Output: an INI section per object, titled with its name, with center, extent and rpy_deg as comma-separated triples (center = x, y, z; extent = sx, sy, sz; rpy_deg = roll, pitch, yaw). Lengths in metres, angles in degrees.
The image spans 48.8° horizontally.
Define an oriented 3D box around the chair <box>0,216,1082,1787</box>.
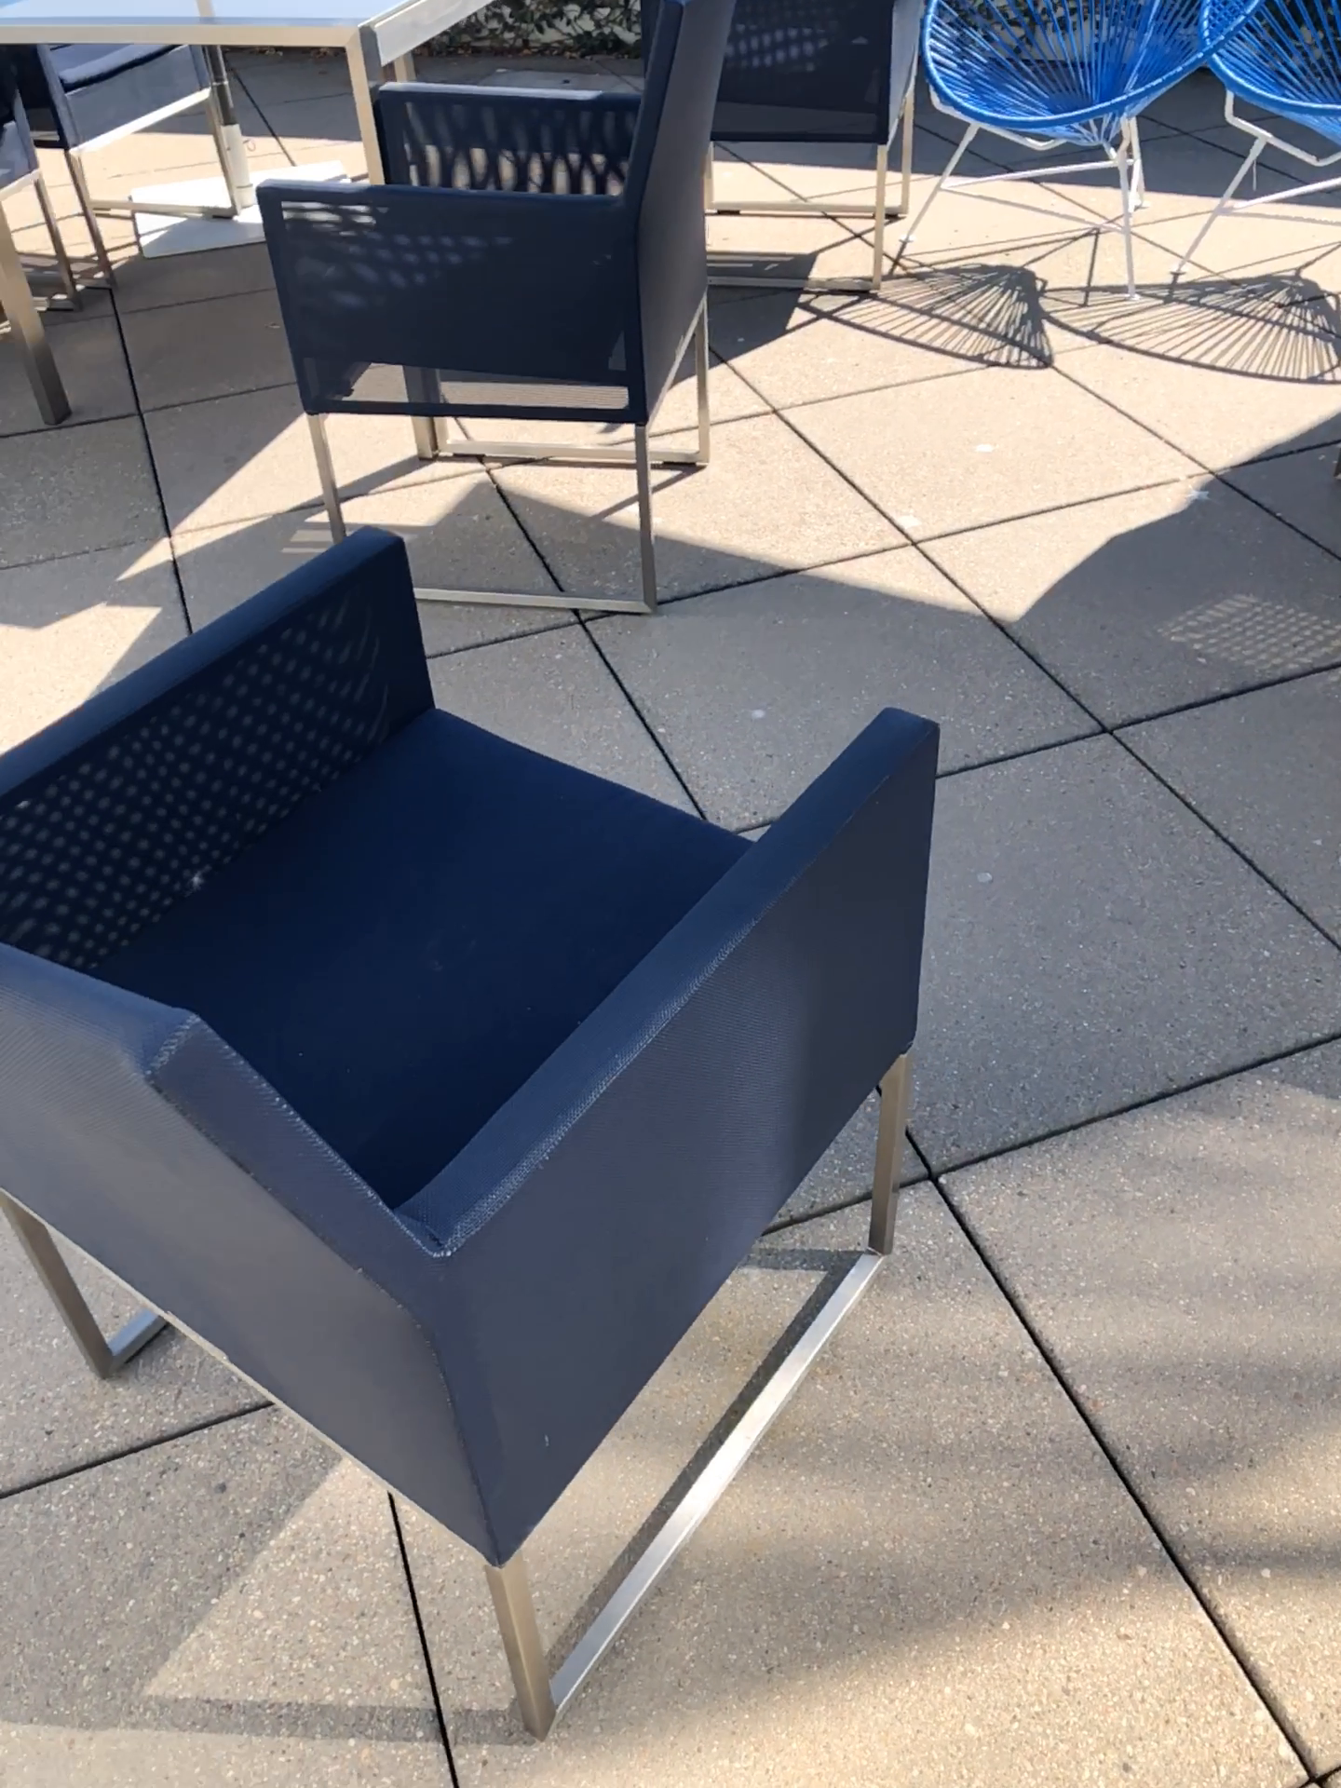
[chair]
center = -0.209, 0.069, 1.041
extent = 0.652, 0.776, 0.671
rpy_deg = 24, 47, 28
